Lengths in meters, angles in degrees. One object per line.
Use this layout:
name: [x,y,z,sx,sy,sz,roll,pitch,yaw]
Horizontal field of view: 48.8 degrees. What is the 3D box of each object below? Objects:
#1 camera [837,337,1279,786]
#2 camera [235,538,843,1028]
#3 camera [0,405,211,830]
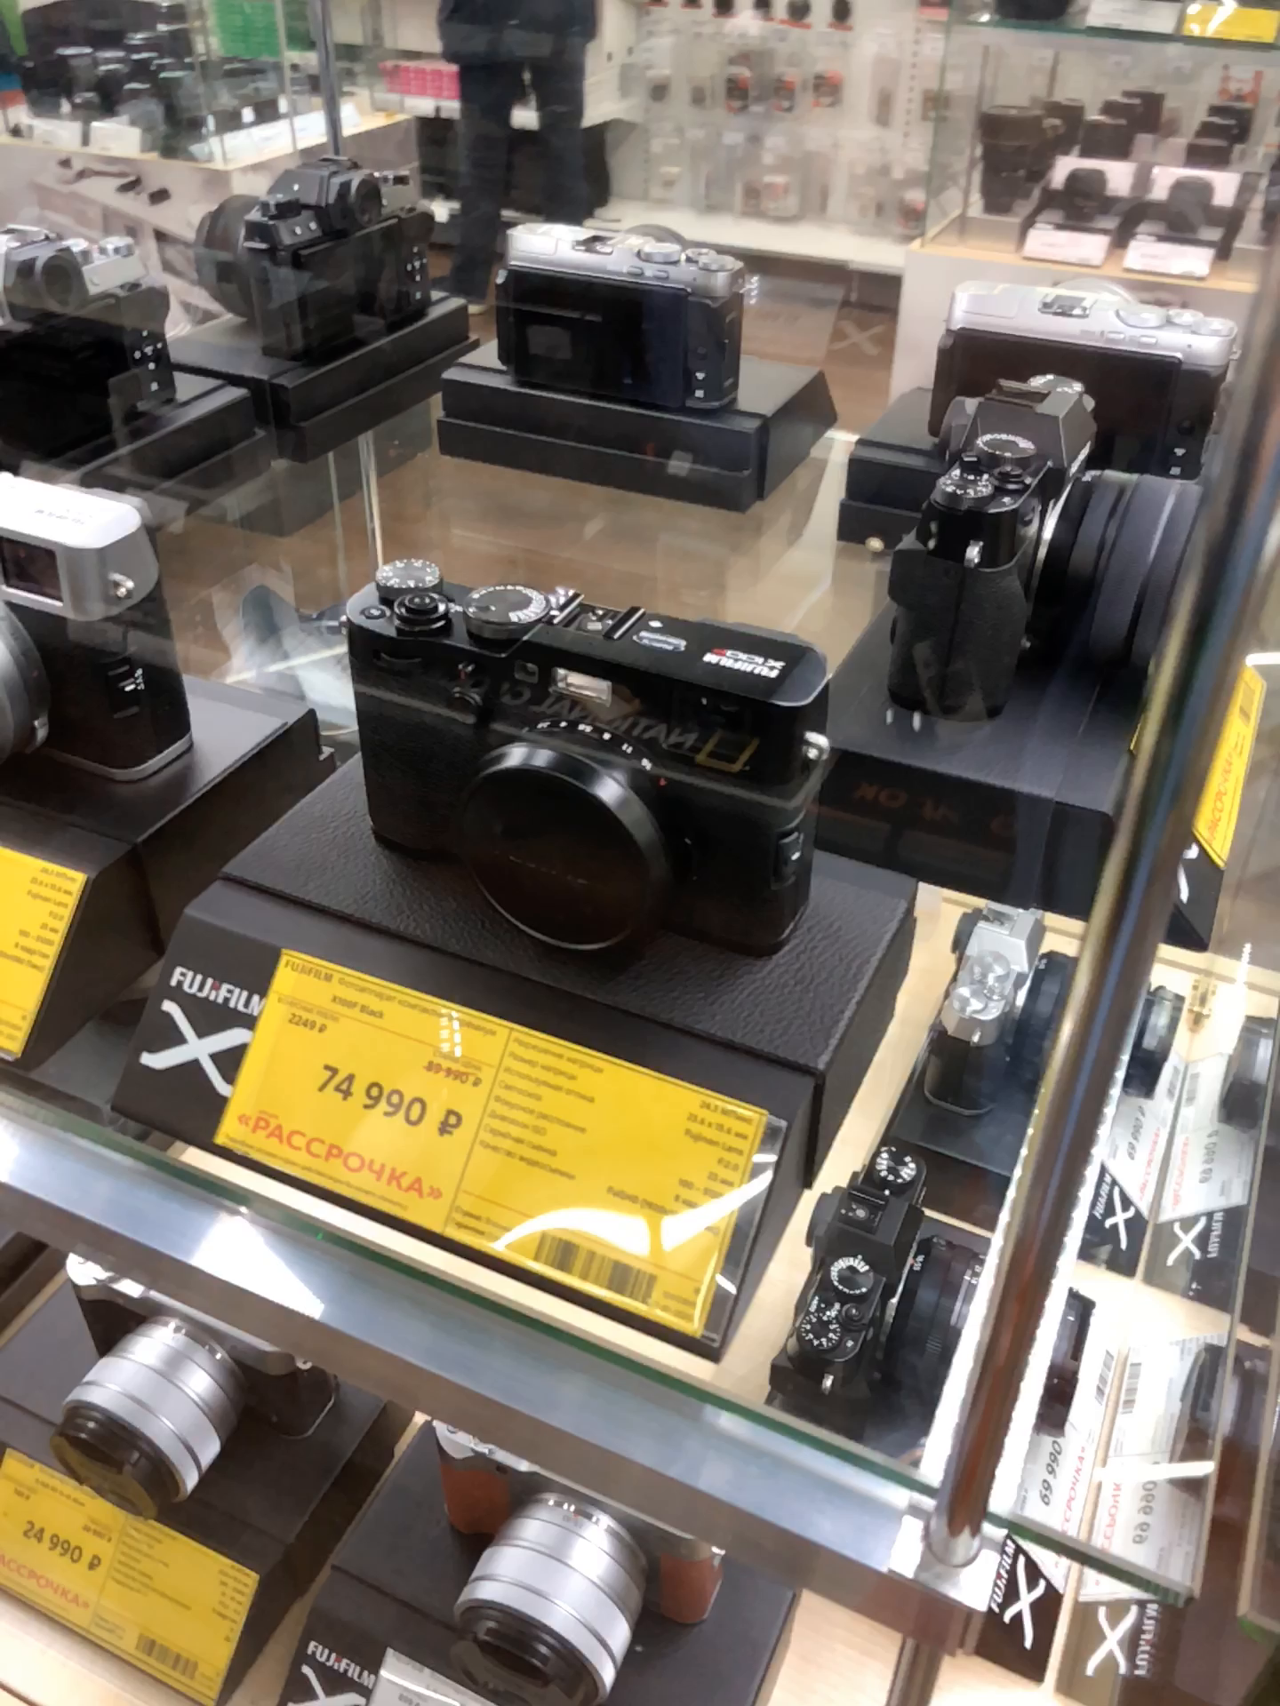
camera: [0.137,-0.100,0.453,0.104,0.080,0.131,16,38,19]
camera: [-0.024,-0.021,0.349,0.131,0.075,0.055,16,38,19]
camera: [-0.199,-0.070,0.403,0.131,0.080,0.055,16,38,19]
